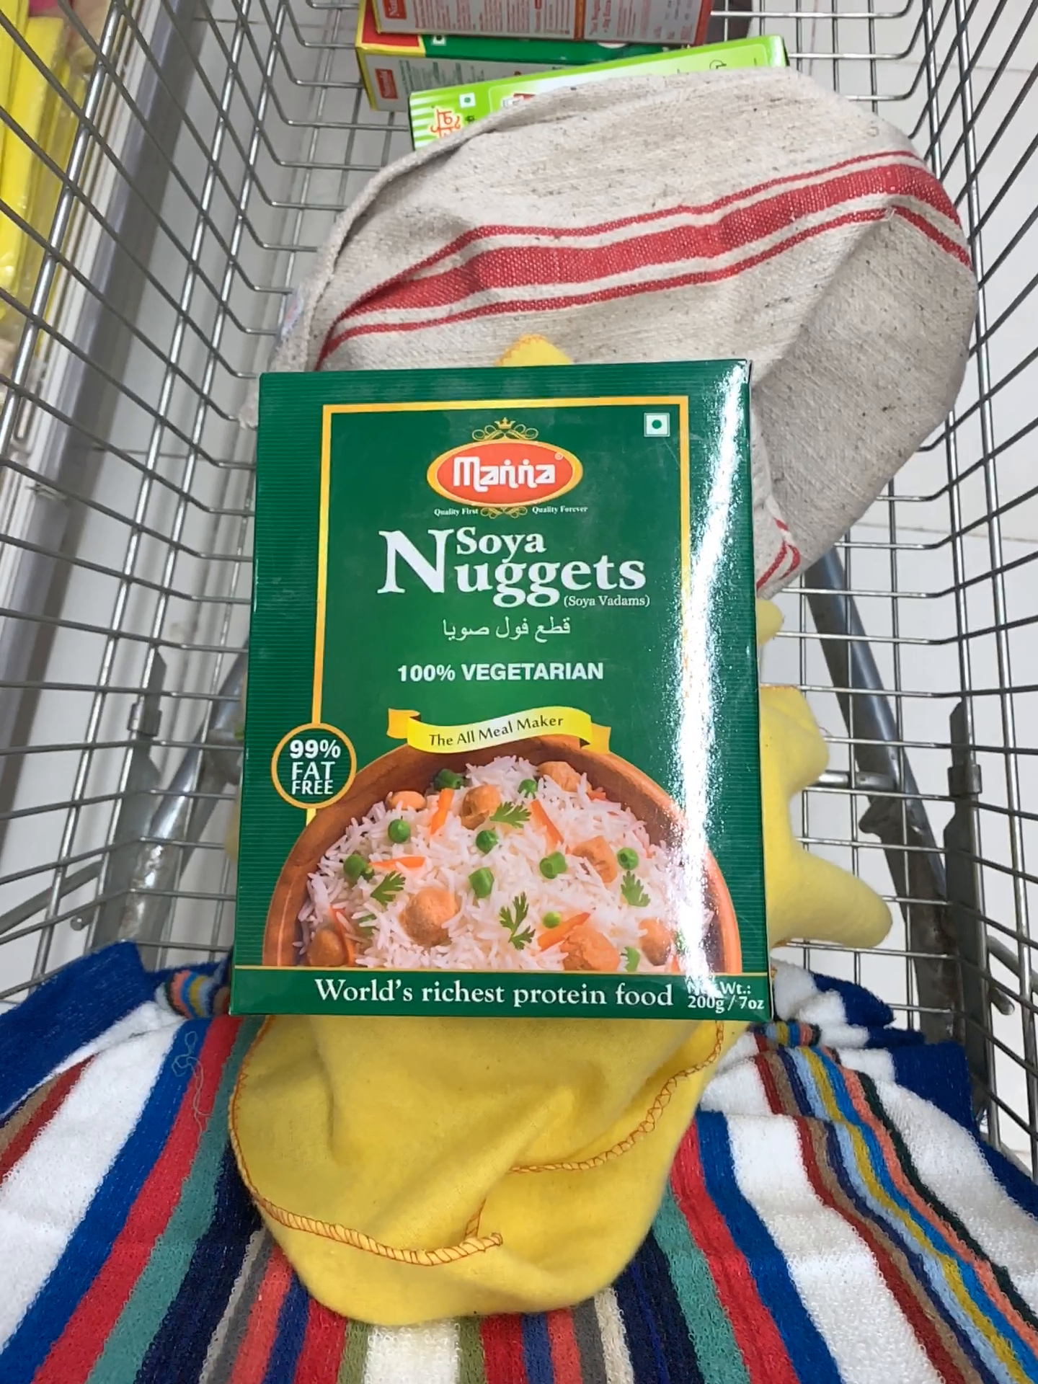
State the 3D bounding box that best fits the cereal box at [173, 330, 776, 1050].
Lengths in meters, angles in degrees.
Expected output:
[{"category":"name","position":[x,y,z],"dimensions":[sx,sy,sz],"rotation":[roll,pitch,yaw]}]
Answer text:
[{"category":"cereal box","position":[-0.010,-0.001,0.328],"dimensions":[0.160,0.060,0.200],"rotation":[0,80,4]}]
